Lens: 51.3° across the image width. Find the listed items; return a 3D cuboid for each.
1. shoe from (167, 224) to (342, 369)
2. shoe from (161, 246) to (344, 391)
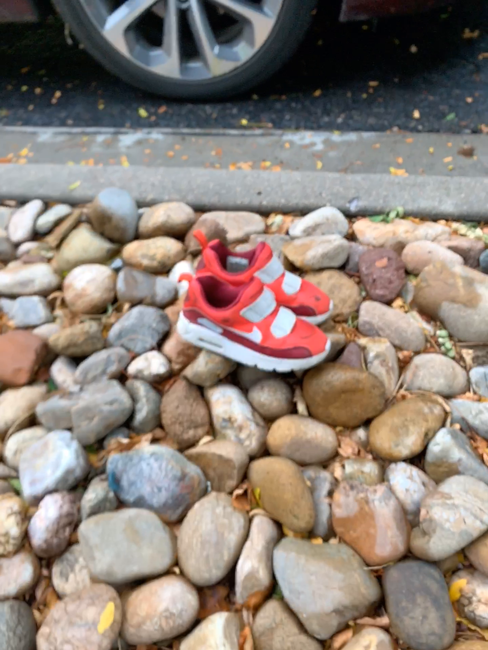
[{"bbox_3d":[0.014,-0.039,0.708,0.210,0.100,0.080,24,44,-1],"label":"shoe"},{"bbox_3d":[0.009,-0.009,0.662,0.210,0.100,0.080,19,44,3],"label":"shoe"}]
